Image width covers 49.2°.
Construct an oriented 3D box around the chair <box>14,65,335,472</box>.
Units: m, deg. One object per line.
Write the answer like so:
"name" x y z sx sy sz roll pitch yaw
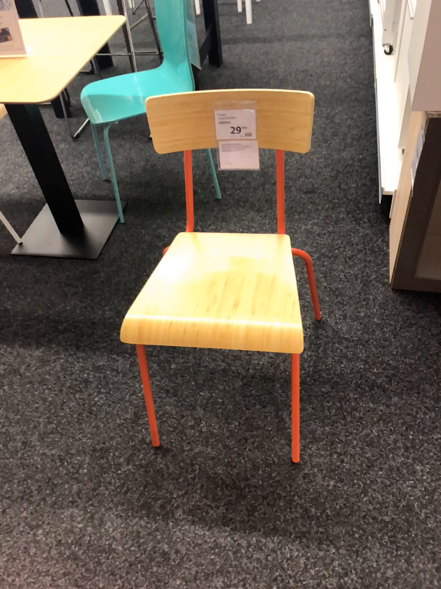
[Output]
"chair" 0.002 -0.035 1.210 0.500 0.816 0.563 3 46 11
